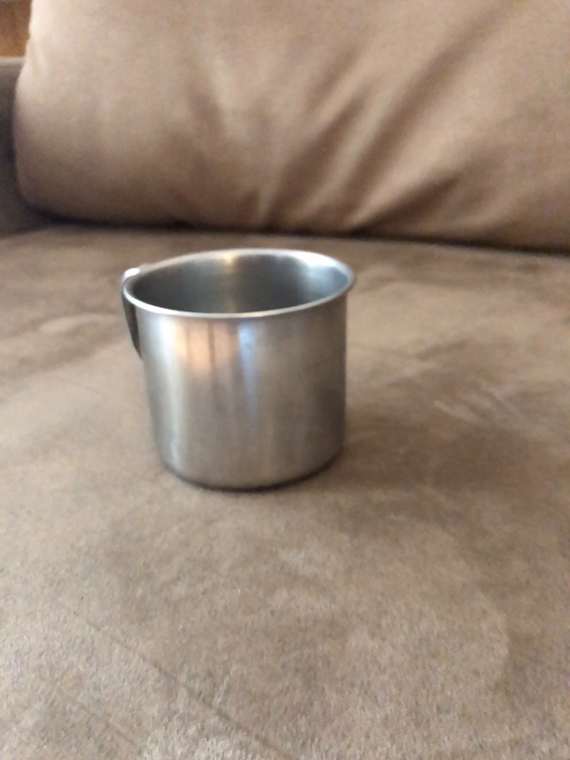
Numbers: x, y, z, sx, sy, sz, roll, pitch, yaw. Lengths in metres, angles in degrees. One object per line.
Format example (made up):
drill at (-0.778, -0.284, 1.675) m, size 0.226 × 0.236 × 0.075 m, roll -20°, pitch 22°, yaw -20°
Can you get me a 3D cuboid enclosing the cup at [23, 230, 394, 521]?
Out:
cup at (-0.027, -0.013, 0.262) m, size 0.110 × 0.070 × 0.090 m, roll 14°, pitch 29°, yaw 32°
